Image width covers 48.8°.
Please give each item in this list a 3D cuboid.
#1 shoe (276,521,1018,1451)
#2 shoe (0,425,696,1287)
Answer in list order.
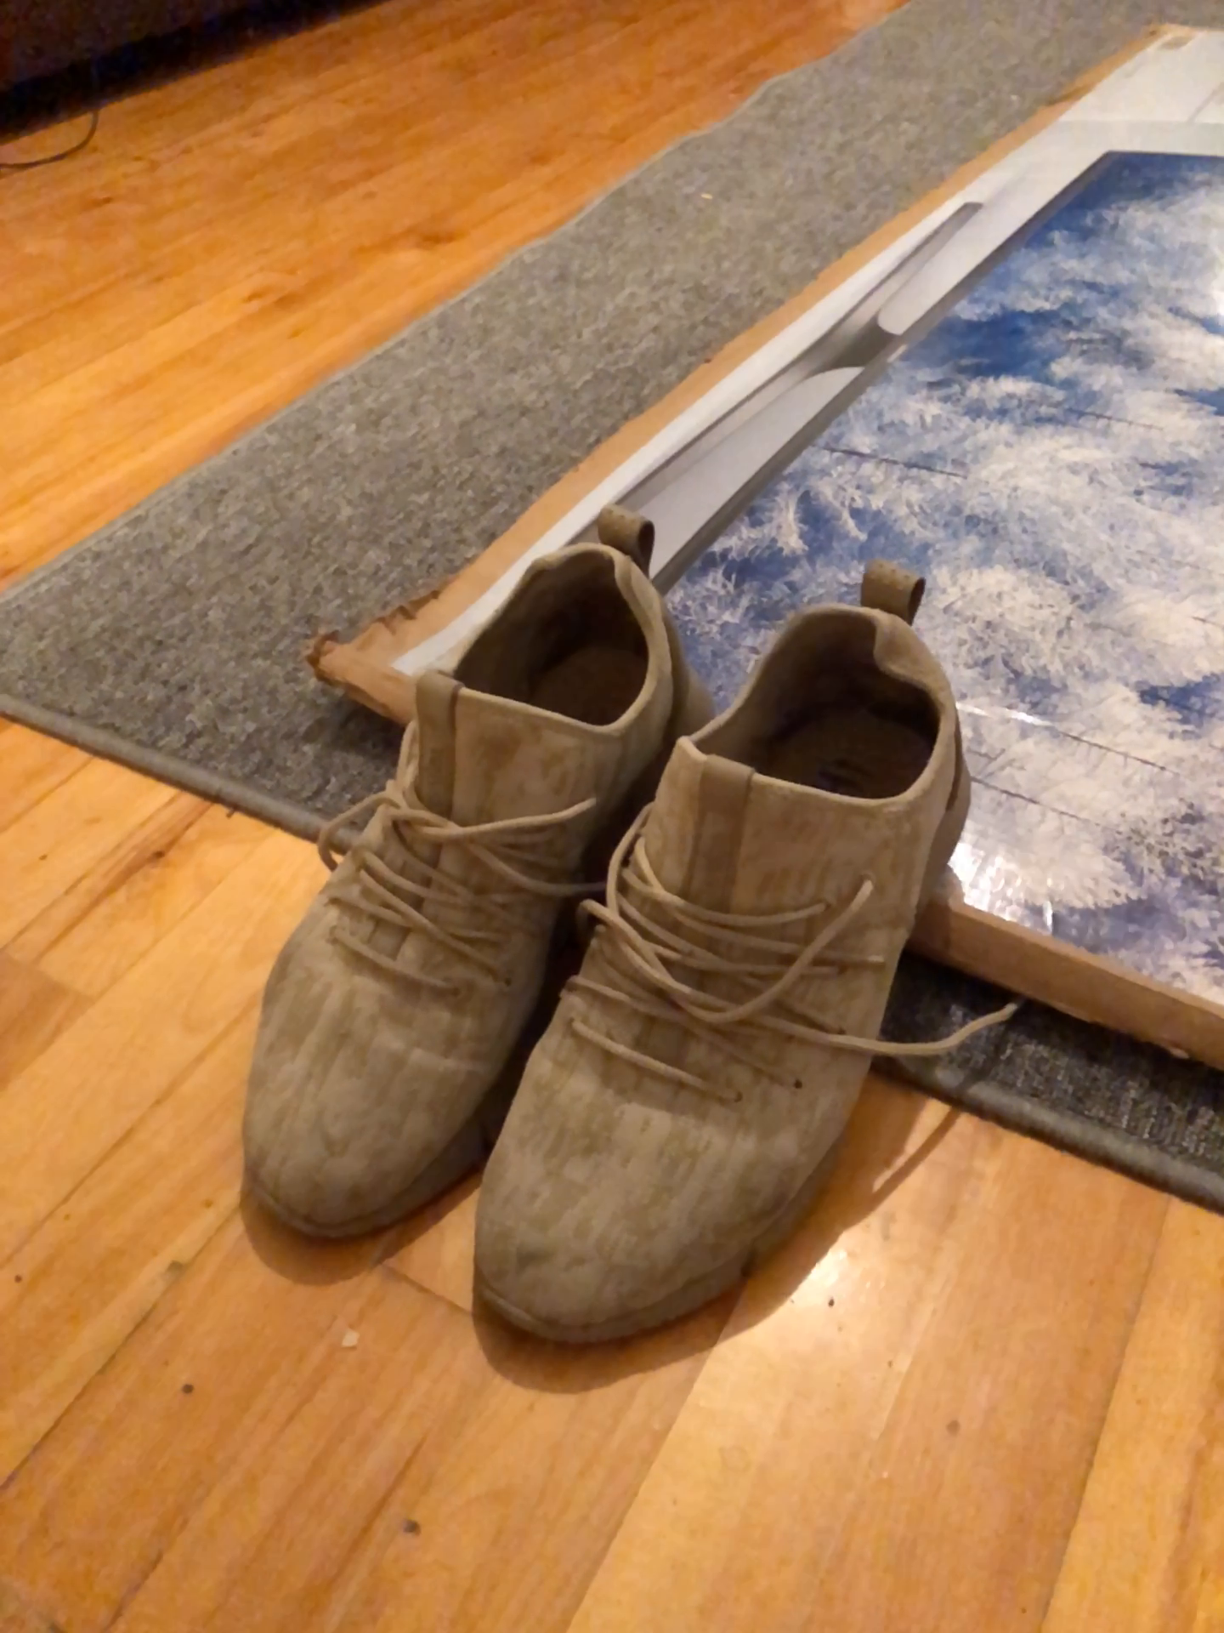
[{"bbox_3d":[0.027,0.053,0.440,0.110,0.119,0.251,23,77,26],"label":"shoe"},{"bbox_3d":[-0.084,0.012,0.467,0.110,0.119,0.251,20,72,23],"label":"shoe"}]
